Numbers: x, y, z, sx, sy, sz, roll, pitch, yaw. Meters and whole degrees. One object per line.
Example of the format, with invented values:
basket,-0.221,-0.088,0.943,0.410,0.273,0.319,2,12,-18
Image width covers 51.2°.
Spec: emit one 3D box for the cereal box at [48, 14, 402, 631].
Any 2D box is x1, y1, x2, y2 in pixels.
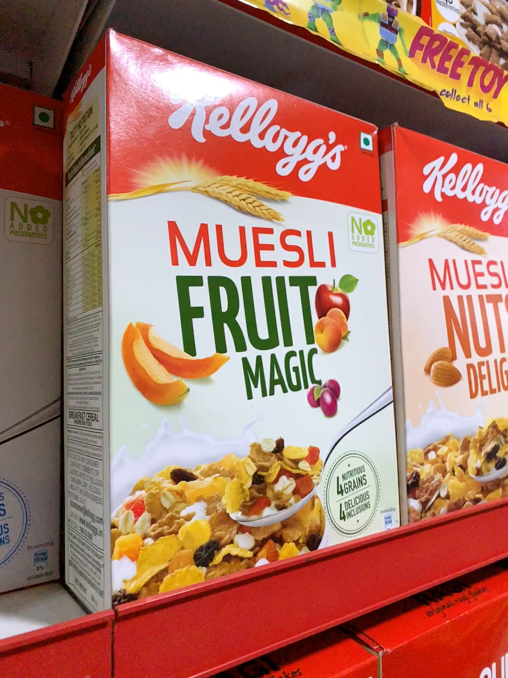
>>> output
cereal box,-0.007,-0.009,0.284,0.180,0.240,0.060,2,-6,-37
